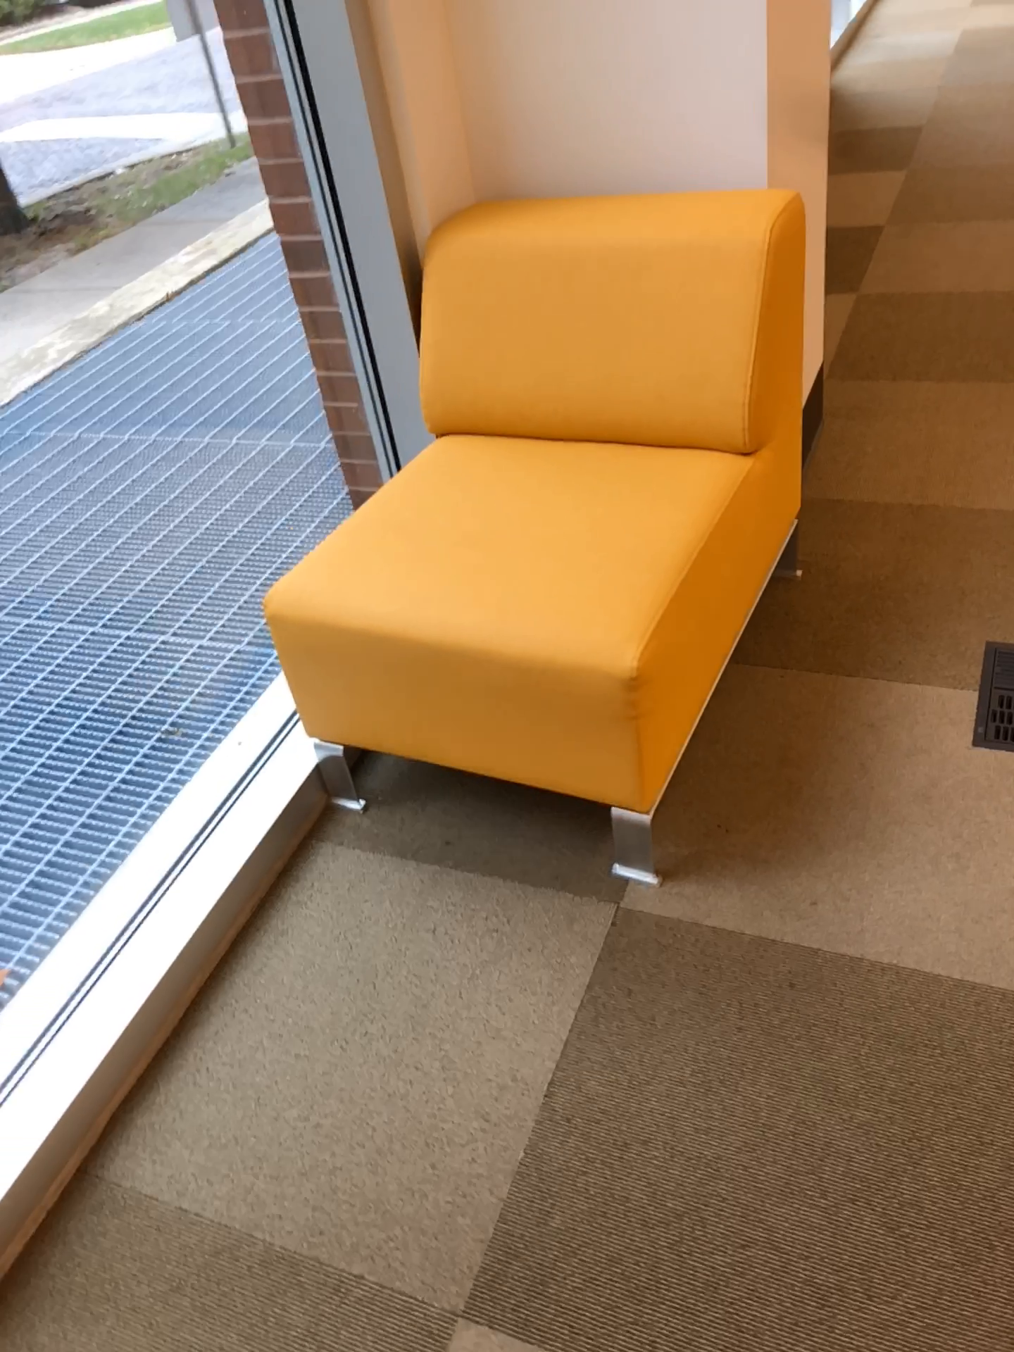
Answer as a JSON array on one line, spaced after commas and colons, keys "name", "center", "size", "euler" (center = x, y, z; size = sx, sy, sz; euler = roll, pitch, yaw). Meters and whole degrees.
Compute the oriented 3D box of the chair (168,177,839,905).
[{"name": "chair", "center": [0.106, -0.292, 1.883], "size": [0.674, 0.751, 0.947], "euler": [10, 42, 25]}]
